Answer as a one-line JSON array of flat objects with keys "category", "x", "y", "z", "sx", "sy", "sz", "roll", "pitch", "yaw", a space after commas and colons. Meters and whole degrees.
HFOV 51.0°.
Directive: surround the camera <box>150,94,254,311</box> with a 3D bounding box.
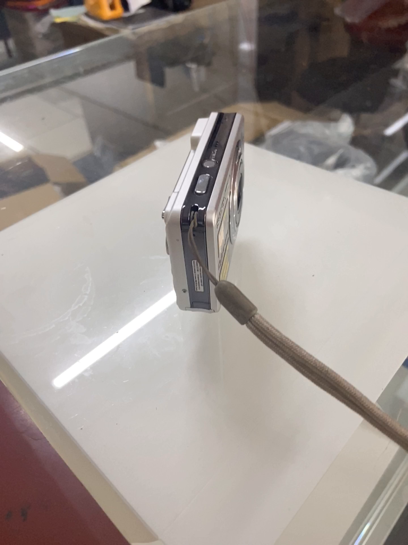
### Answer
[{"category": "camera", "x": 0.005, "y": -0.037, "z": 0.203, "sx": 0.030, "sy": 0.060, "sz": 0.091, "roll": 4, "pitch": 44, "yaw": 9}]
